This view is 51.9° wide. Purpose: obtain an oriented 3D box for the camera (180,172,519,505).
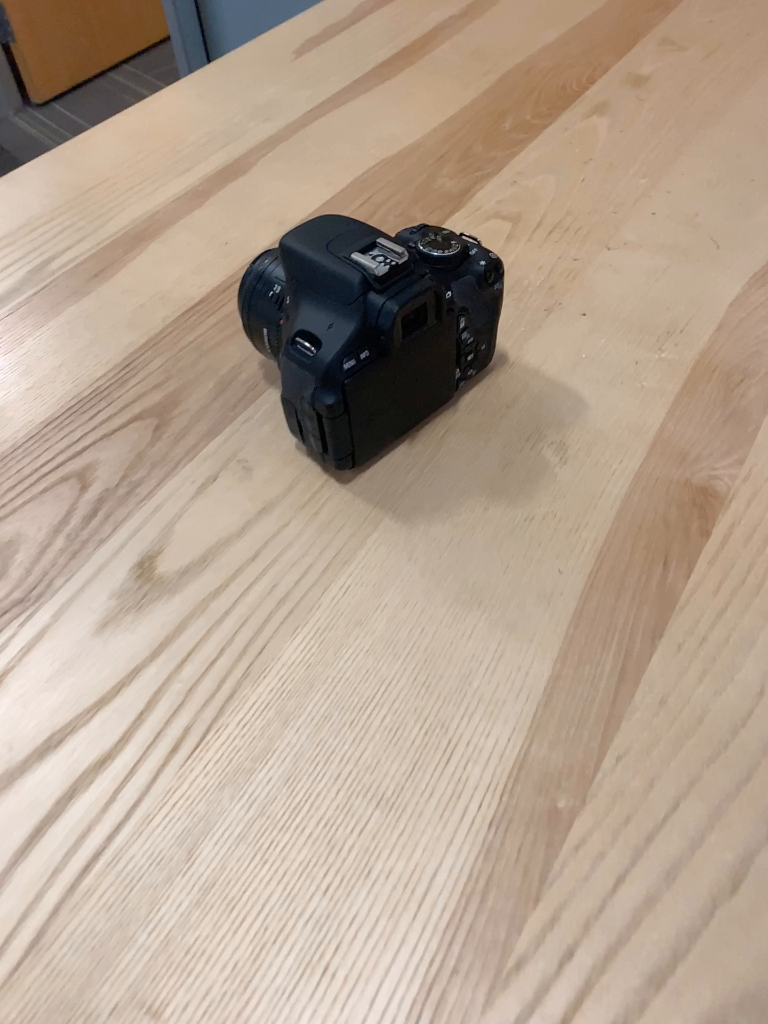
[{"bbox_3d":[-0.015,-0.098,0.427,0.116,0.094,0.123,35,60,30],"label":"camera"}]
